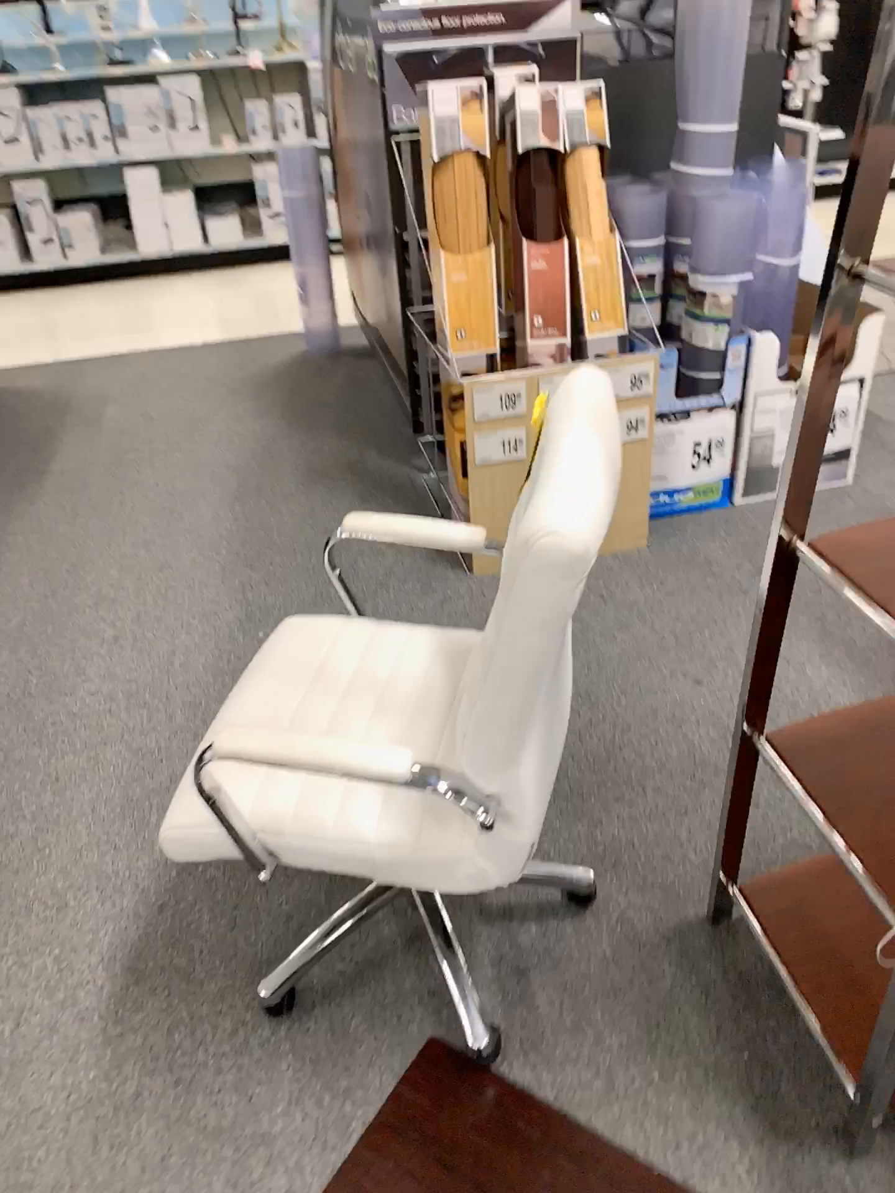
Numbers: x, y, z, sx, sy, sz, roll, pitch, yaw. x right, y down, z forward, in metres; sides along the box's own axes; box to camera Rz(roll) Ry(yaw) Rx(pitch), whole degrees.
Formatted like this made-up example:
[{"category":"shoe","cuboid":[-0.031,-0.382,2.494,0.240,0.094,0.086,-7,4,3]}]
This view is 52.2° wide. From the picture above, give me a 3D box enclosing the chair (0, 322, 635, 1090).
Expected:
[{"category":"chair","cuboid":[-0.102,0.132,1.393,0.681,0.905,0.623,5,34,14]}]
